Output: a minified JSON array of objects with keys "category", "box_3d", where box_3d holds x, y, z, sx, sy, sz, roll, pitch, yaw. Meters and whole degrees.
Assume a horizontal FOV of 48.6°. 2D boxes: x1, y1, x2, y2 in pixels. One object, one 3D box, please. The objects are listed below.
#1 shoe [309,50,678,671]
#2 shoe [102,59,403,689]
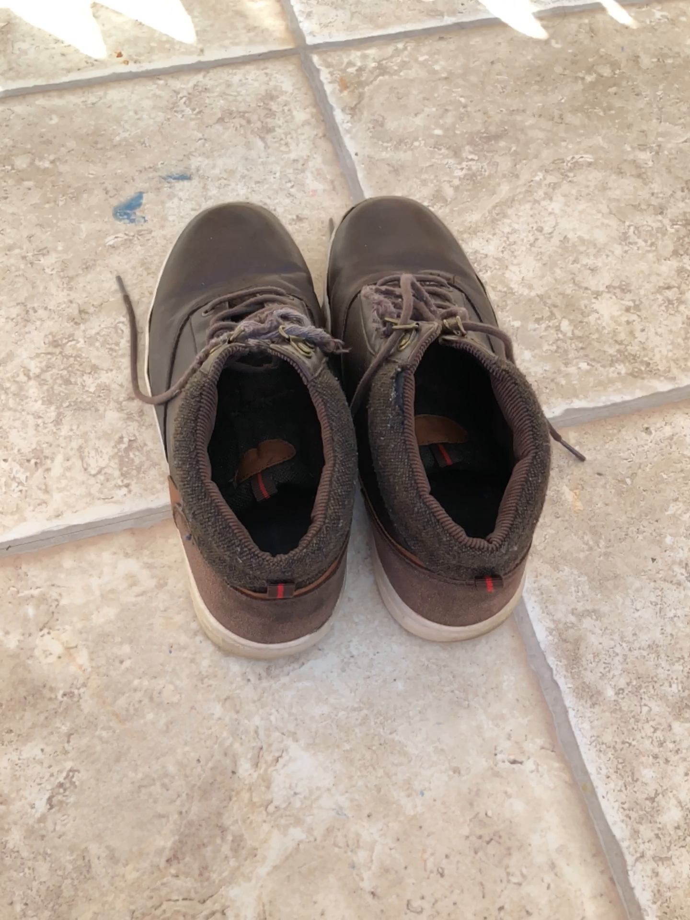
[{"category":"shoe","box_3d":[0.052,-0.059,0.420,0.110,0.149,0.301,-6,61,-4]},{"category":"shoe","box_3d":[-0.056,-0.052,0.417,0.110,0.149,0.301,-7,61,-5]}]
